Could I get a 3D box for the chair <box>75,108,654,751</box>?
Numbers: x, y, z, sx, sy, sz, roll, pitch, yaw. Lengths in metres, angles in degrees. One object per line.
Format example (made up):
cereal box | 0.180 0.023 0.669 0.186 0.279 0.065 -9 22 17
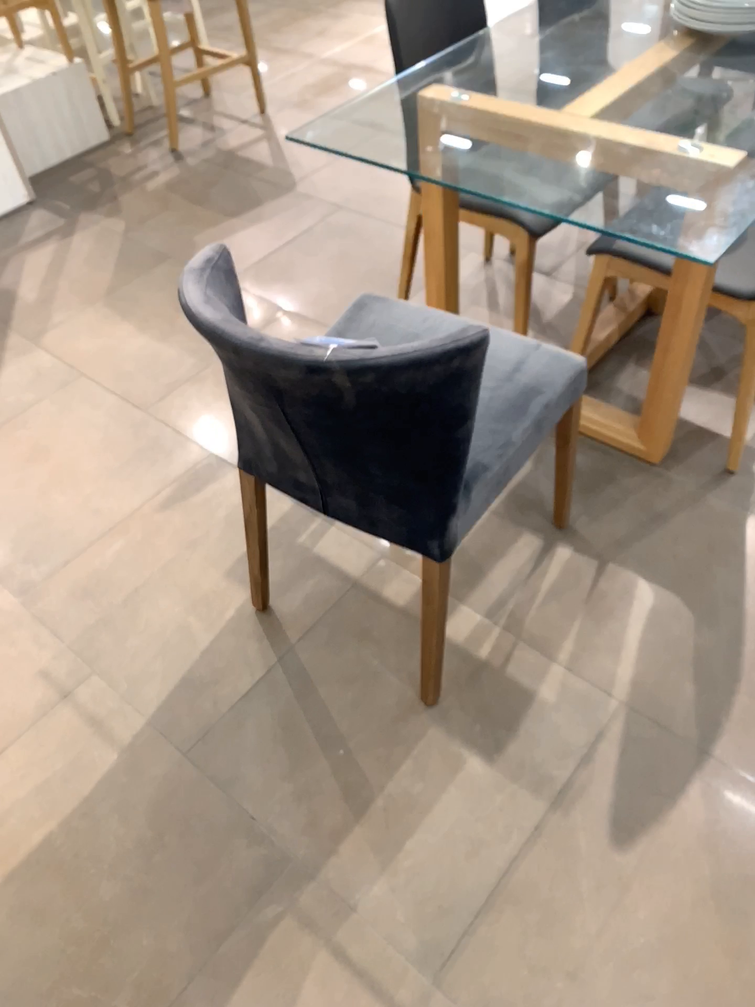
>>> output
chair | 0.024 -0.134 1.405 0.579 0.805 0.616 27 55 28
